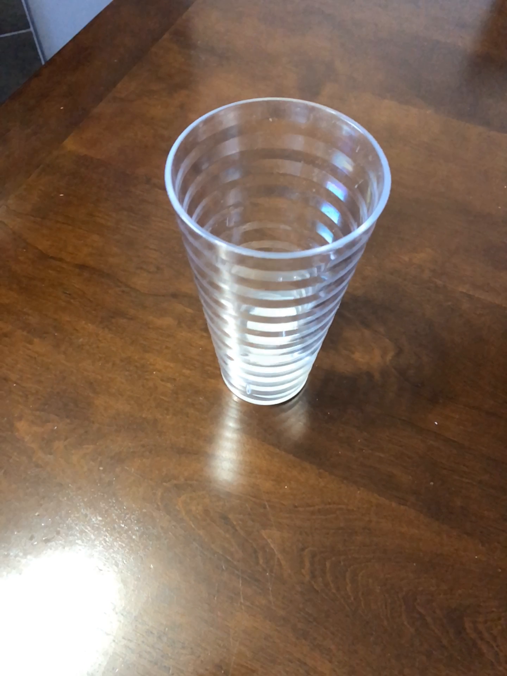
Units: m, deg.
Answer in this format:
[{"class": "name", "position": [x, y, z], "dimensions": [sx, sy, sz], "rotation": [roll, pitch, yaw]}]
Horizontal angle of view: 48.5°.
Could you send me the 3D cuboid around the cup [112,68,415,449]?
[{"class": "cup", "position": [0.007, -0.031, 0.323], "dimensions": [0.100, 0.180, 0.100], "rotation": [0, 59, 0]}]
